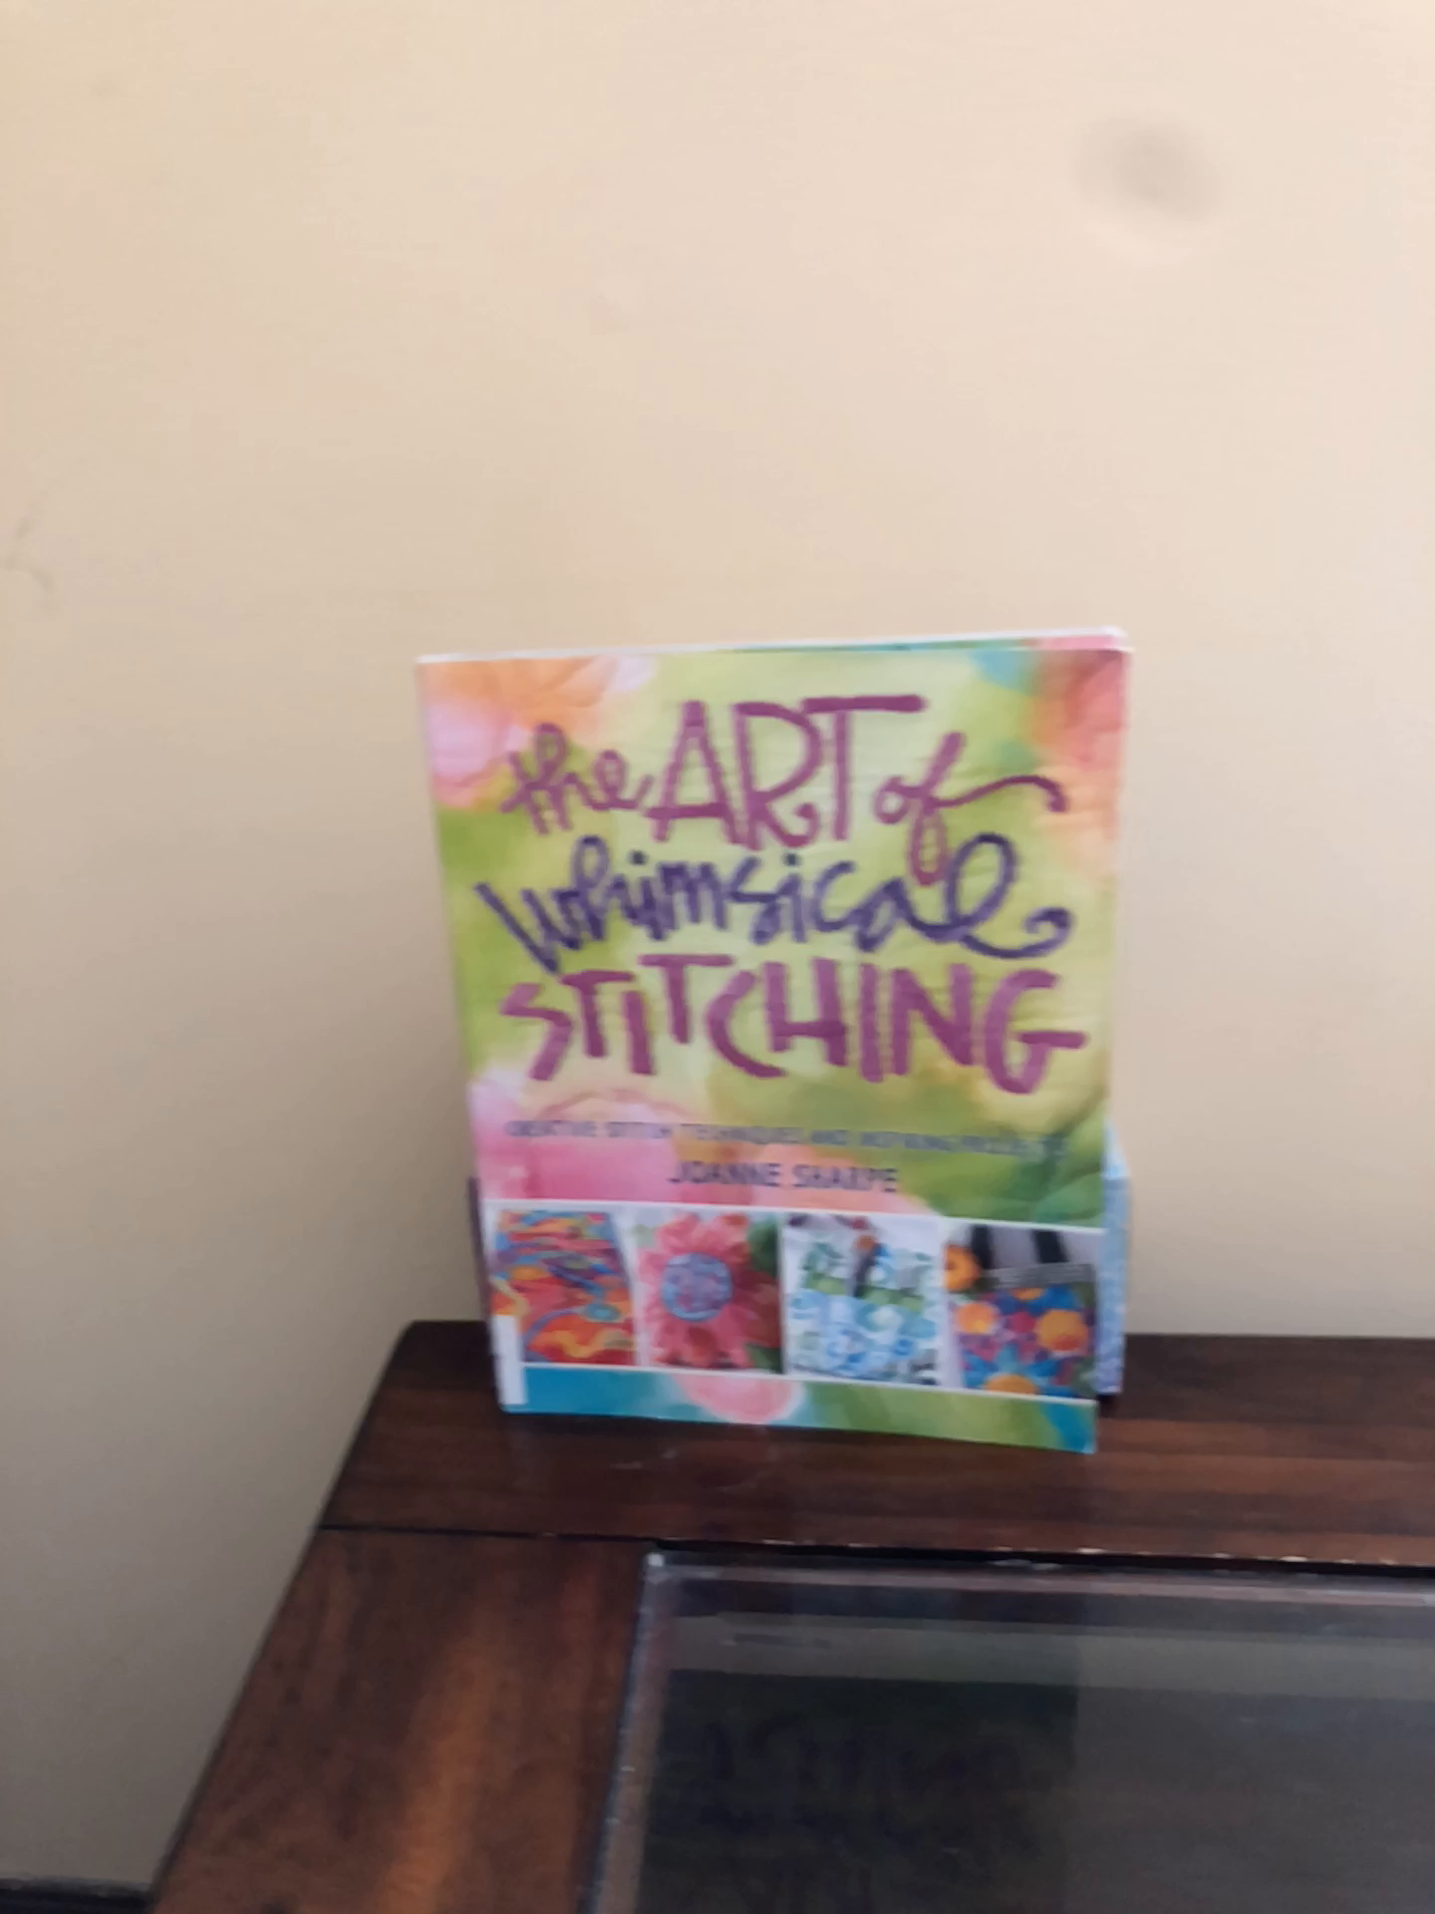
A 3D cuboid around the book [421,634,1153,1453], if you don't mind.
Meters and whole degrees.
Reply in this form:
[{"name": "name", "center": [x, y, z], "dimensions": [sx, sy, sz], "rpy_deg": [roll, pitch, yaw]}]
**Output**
[{"name": "book", "center": [0.024, 0.032, 0.518], "dimensions": [0.214, 0.263, 0.029], "rpy_deg": [1, 19, 10]}]
